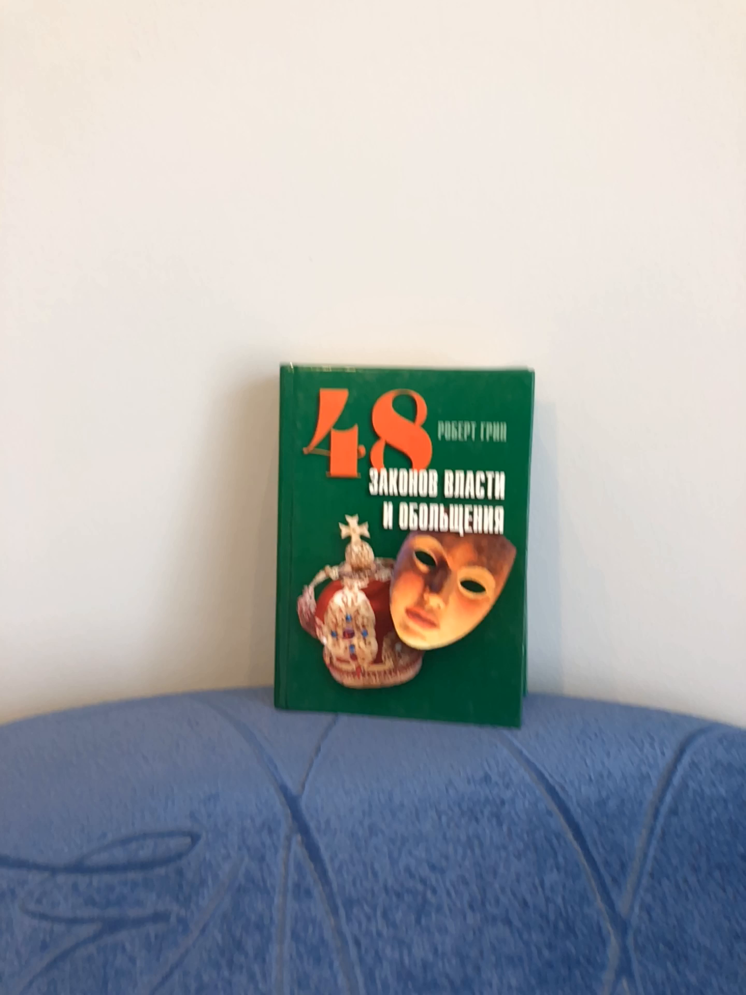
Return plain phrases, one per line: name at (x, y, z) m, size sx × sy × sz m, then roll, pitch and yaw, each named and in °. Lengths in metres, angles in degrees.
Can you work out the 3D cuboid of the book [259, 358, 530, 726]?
book at (0.011, 0.015, 0.352) m, size 0.106 × 0.141 × 0.050 m, roll 1°, pitch 3°, yaw 12°
